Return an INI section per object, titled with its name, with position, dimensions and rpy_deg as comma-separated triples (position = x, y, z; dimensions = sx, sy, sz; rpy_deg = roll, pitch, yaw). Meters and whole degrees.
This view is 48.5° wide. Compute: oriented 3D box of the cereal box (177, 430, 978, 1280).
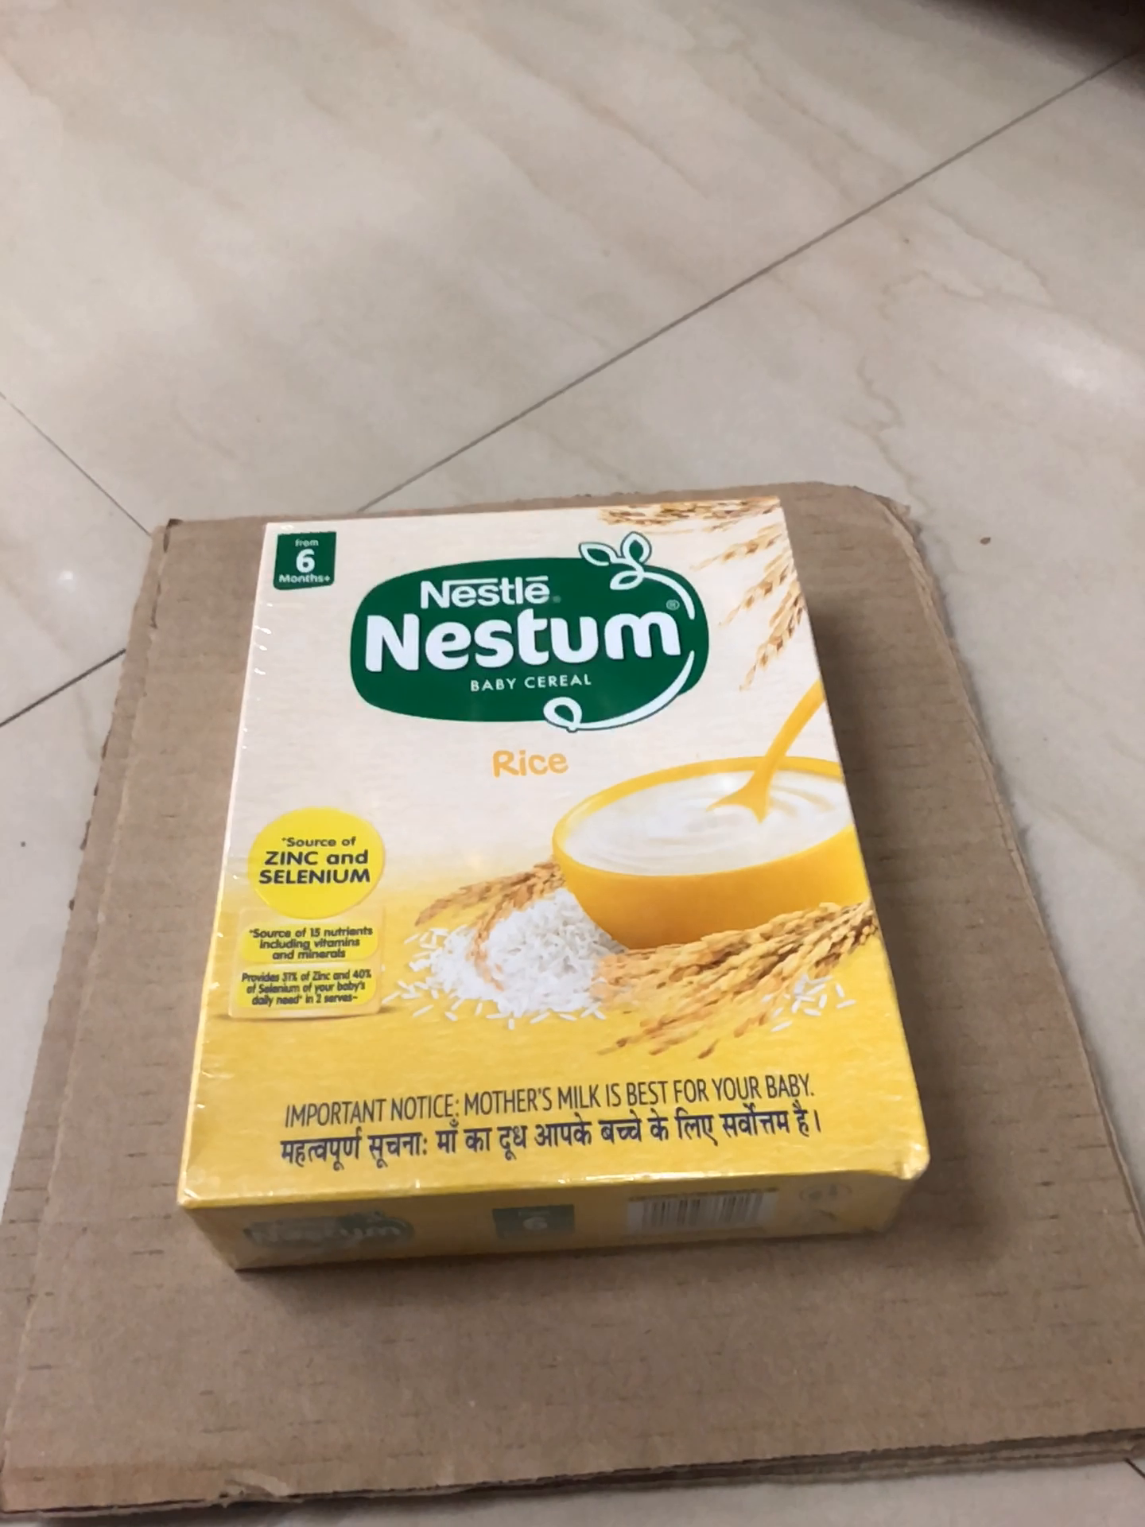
[cereal box]
position = -0.003, 0.010, 0.324
dimensions = 0.150, 0.060, 0.211
rpy_deg = -2, 53, -1
